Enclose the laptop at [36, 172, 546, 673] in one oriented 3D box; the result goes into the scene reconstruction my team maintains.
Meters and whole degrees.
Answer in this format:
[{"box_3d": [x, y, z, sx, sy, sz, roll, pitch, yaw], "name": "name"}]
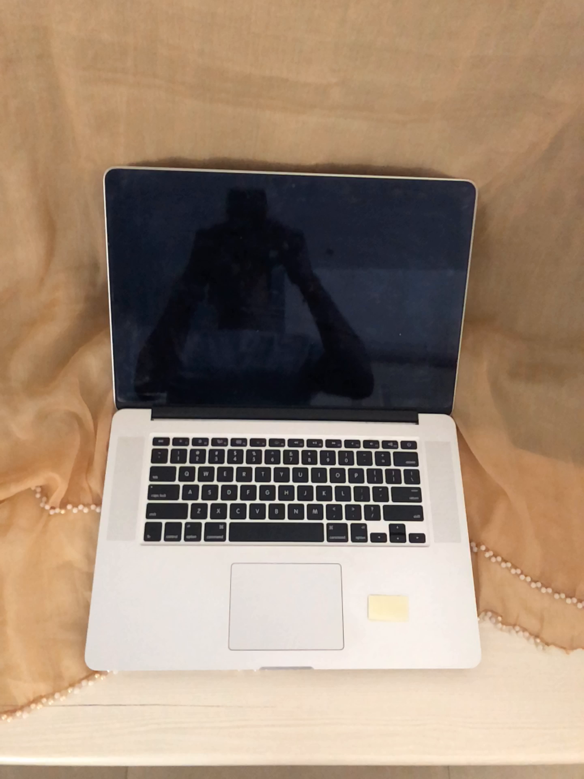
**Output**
[{"box_3d": [-0.001, 0.022, 0.564, 0.336, 0.135, 0.406, 1, 68, -3], "name": "laptop"}]
